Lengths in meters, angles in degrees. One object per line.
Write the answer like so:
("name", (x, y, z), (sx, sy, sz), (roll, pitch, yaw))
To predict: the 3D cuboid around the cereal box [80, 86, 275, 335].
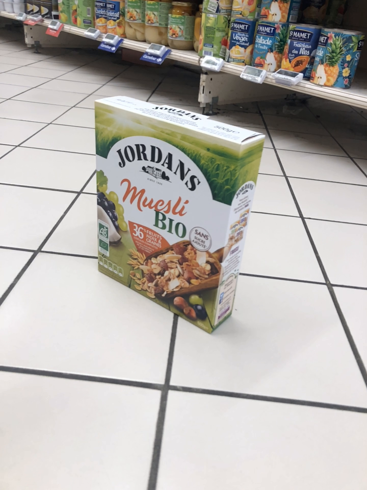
("cereal box", (-0.021, -0.042, 0.436), (0.190, 0.209, 0.060), (25, 35, 28))
